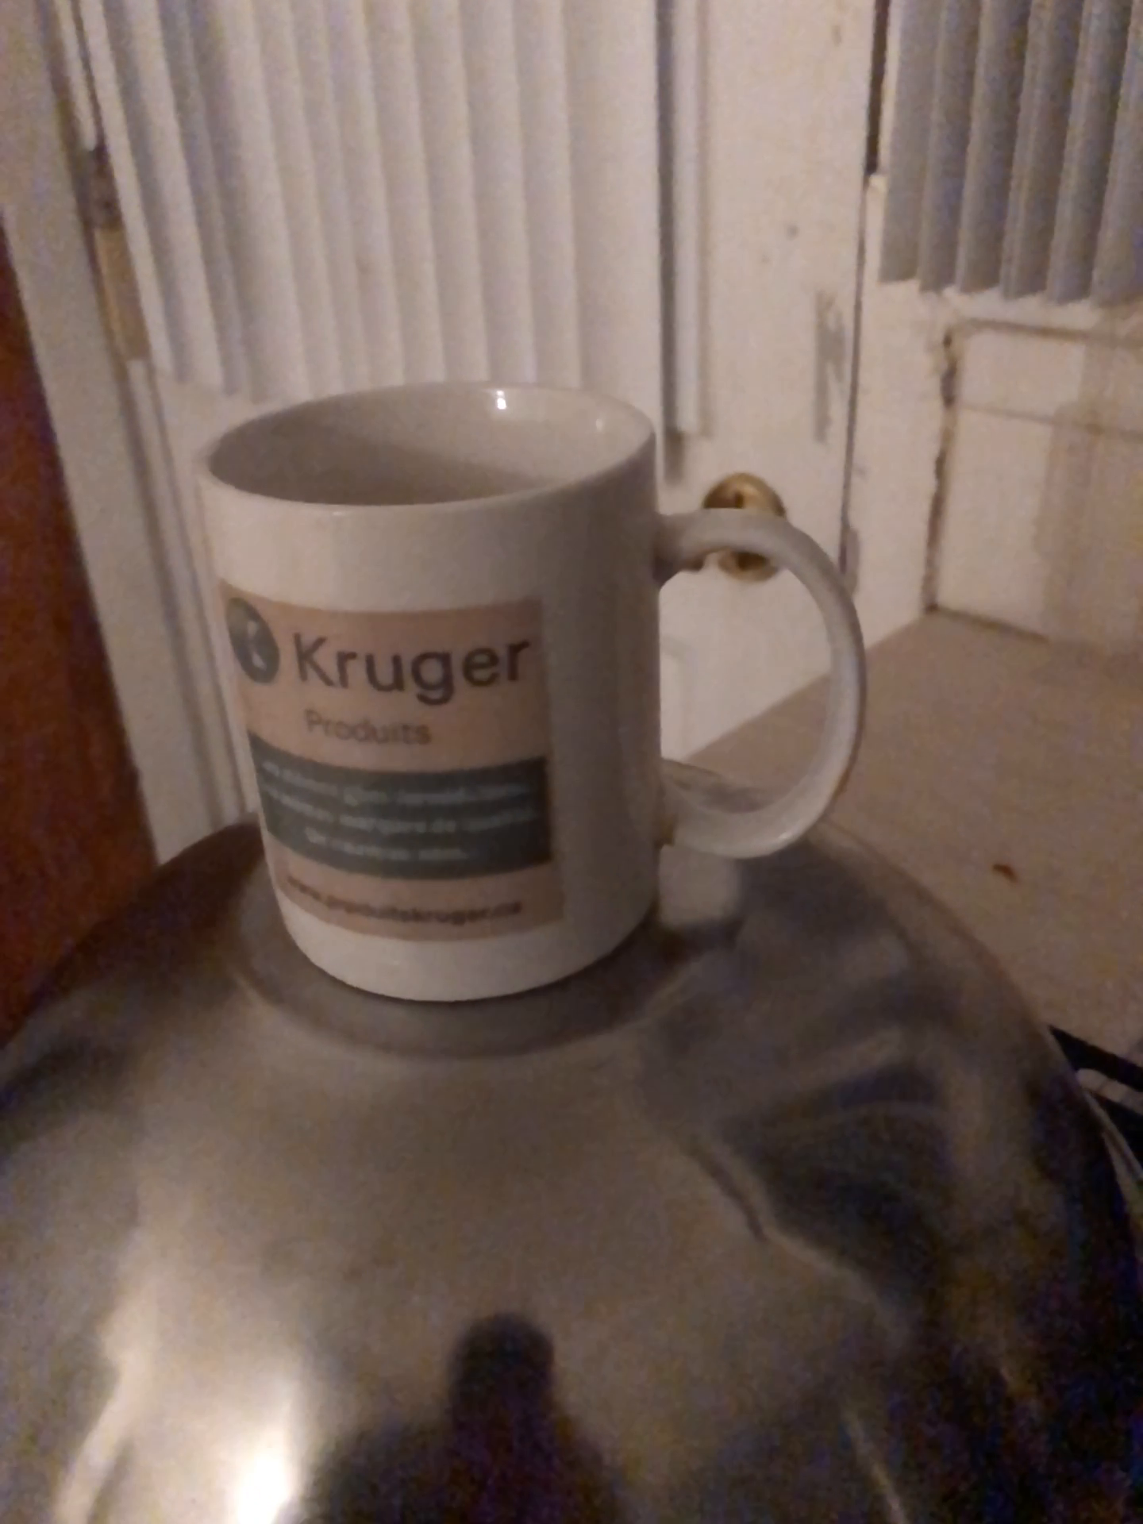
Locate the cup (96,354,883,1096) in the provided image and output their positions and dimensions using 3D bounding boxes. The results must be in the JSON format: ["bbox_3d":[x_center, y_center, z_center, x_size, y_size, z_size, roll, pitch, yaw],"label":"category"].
[{"bbox_3d":[-0.005,-0.015,0.256,0.120,0.109,0.091,5,30,14],"label":"cup"}]
